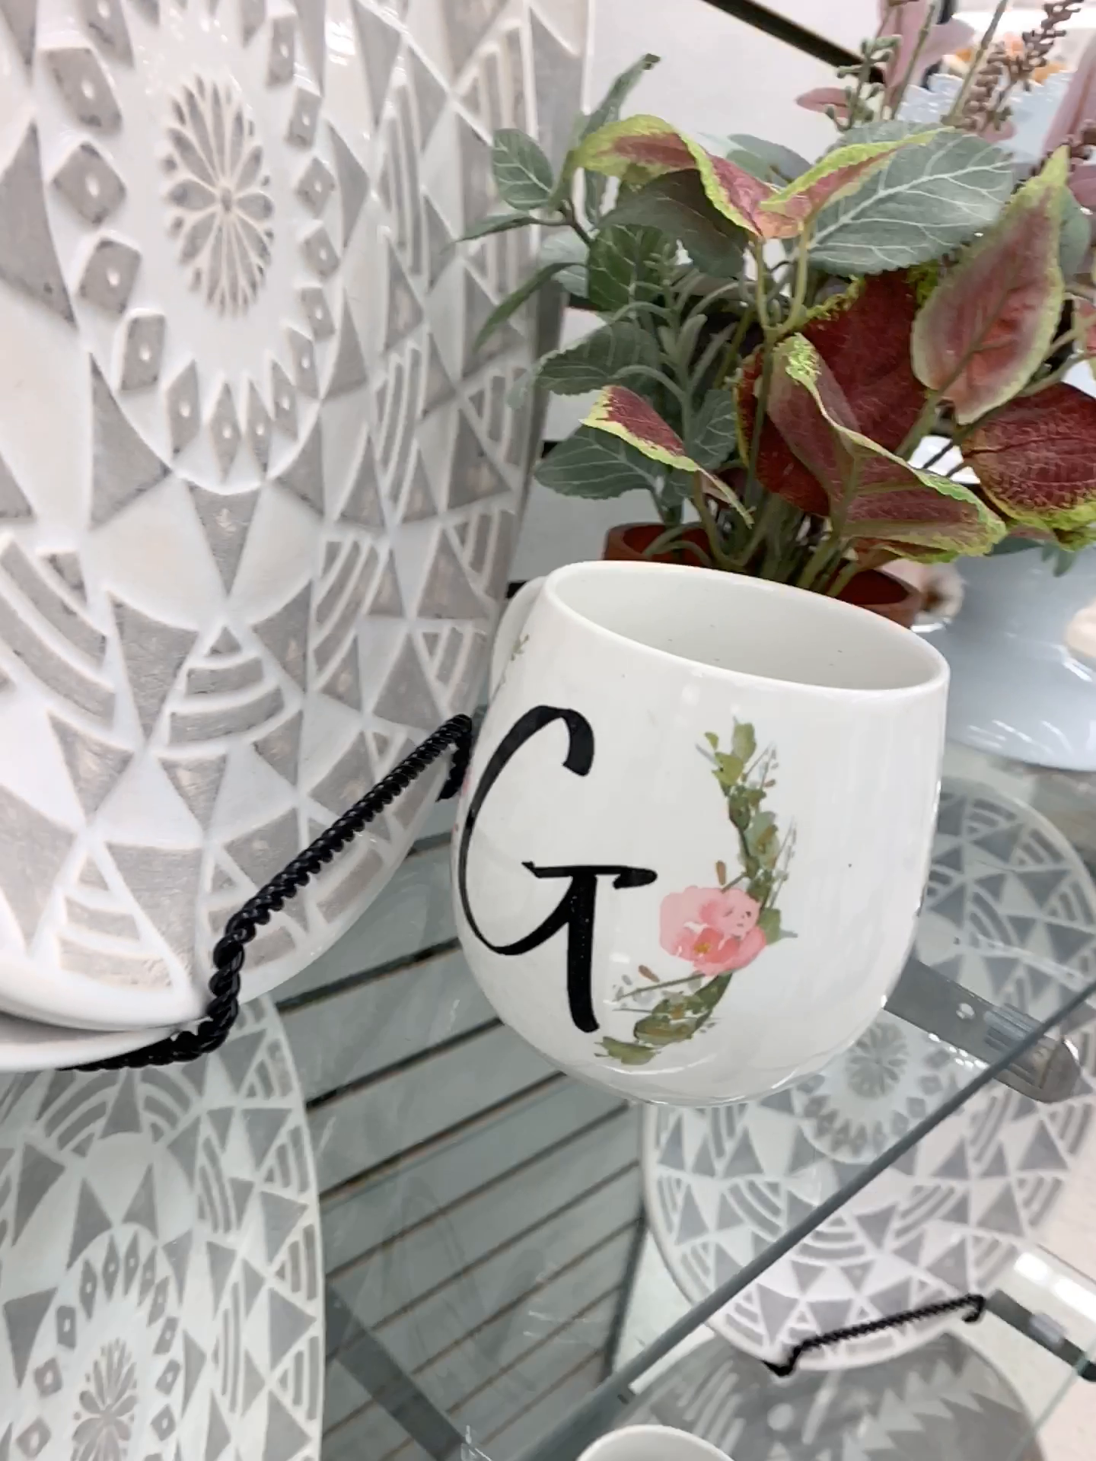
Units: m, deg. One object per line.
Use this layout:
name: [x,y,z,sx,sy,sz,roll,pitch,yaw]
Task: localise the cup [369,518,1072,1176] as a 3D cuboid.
cup: [0.027,0.013,0.241,0.089,0.090,0.100,-4,24,-32]
